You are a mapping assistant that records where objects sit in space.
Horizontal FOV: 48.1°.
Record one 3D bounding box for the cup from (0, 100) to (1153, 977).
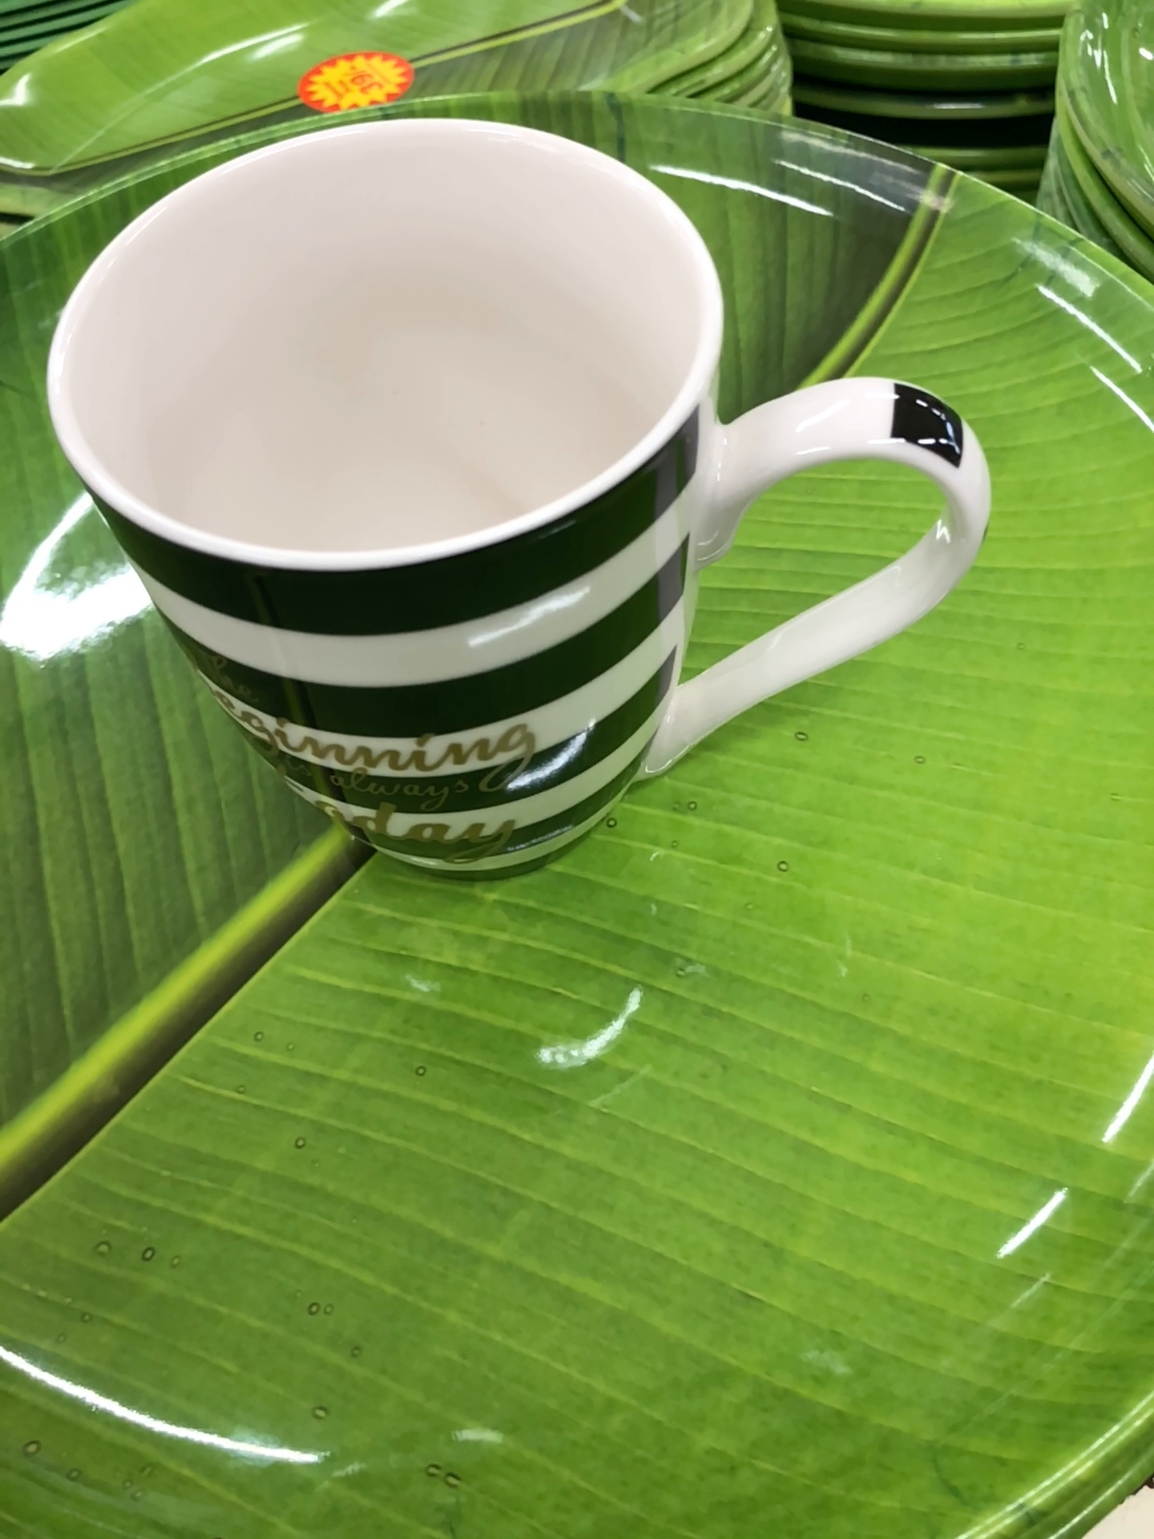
[{"bbox_3d":[0.003,-0.029,0.175,0.130,0.080,0.080,2,55,6],"label":"cup"}]
